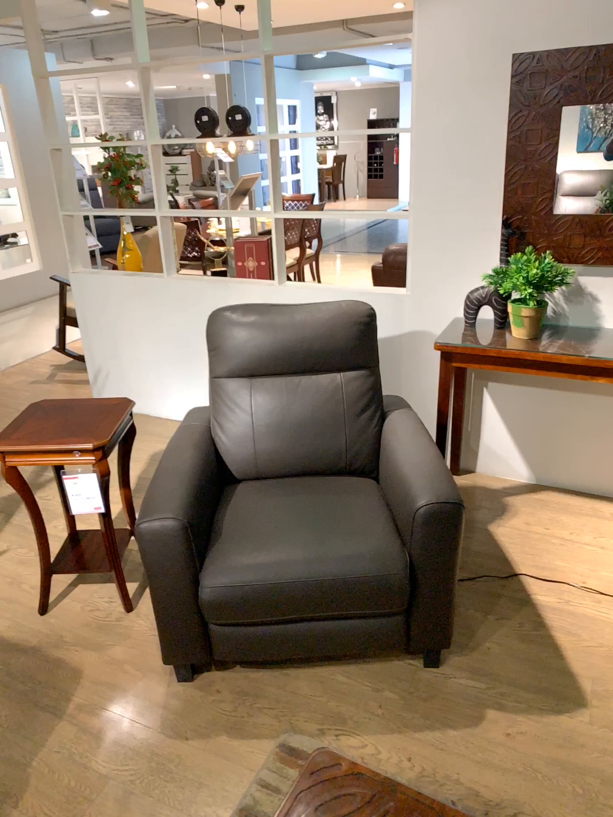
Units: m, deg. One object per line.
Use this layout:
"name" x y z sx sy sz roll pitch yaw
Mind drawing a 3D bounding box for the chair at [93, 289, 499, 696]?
"chair" -0.020 0.194 2.049 0.940 0.926 0.924 -3 23 -1
